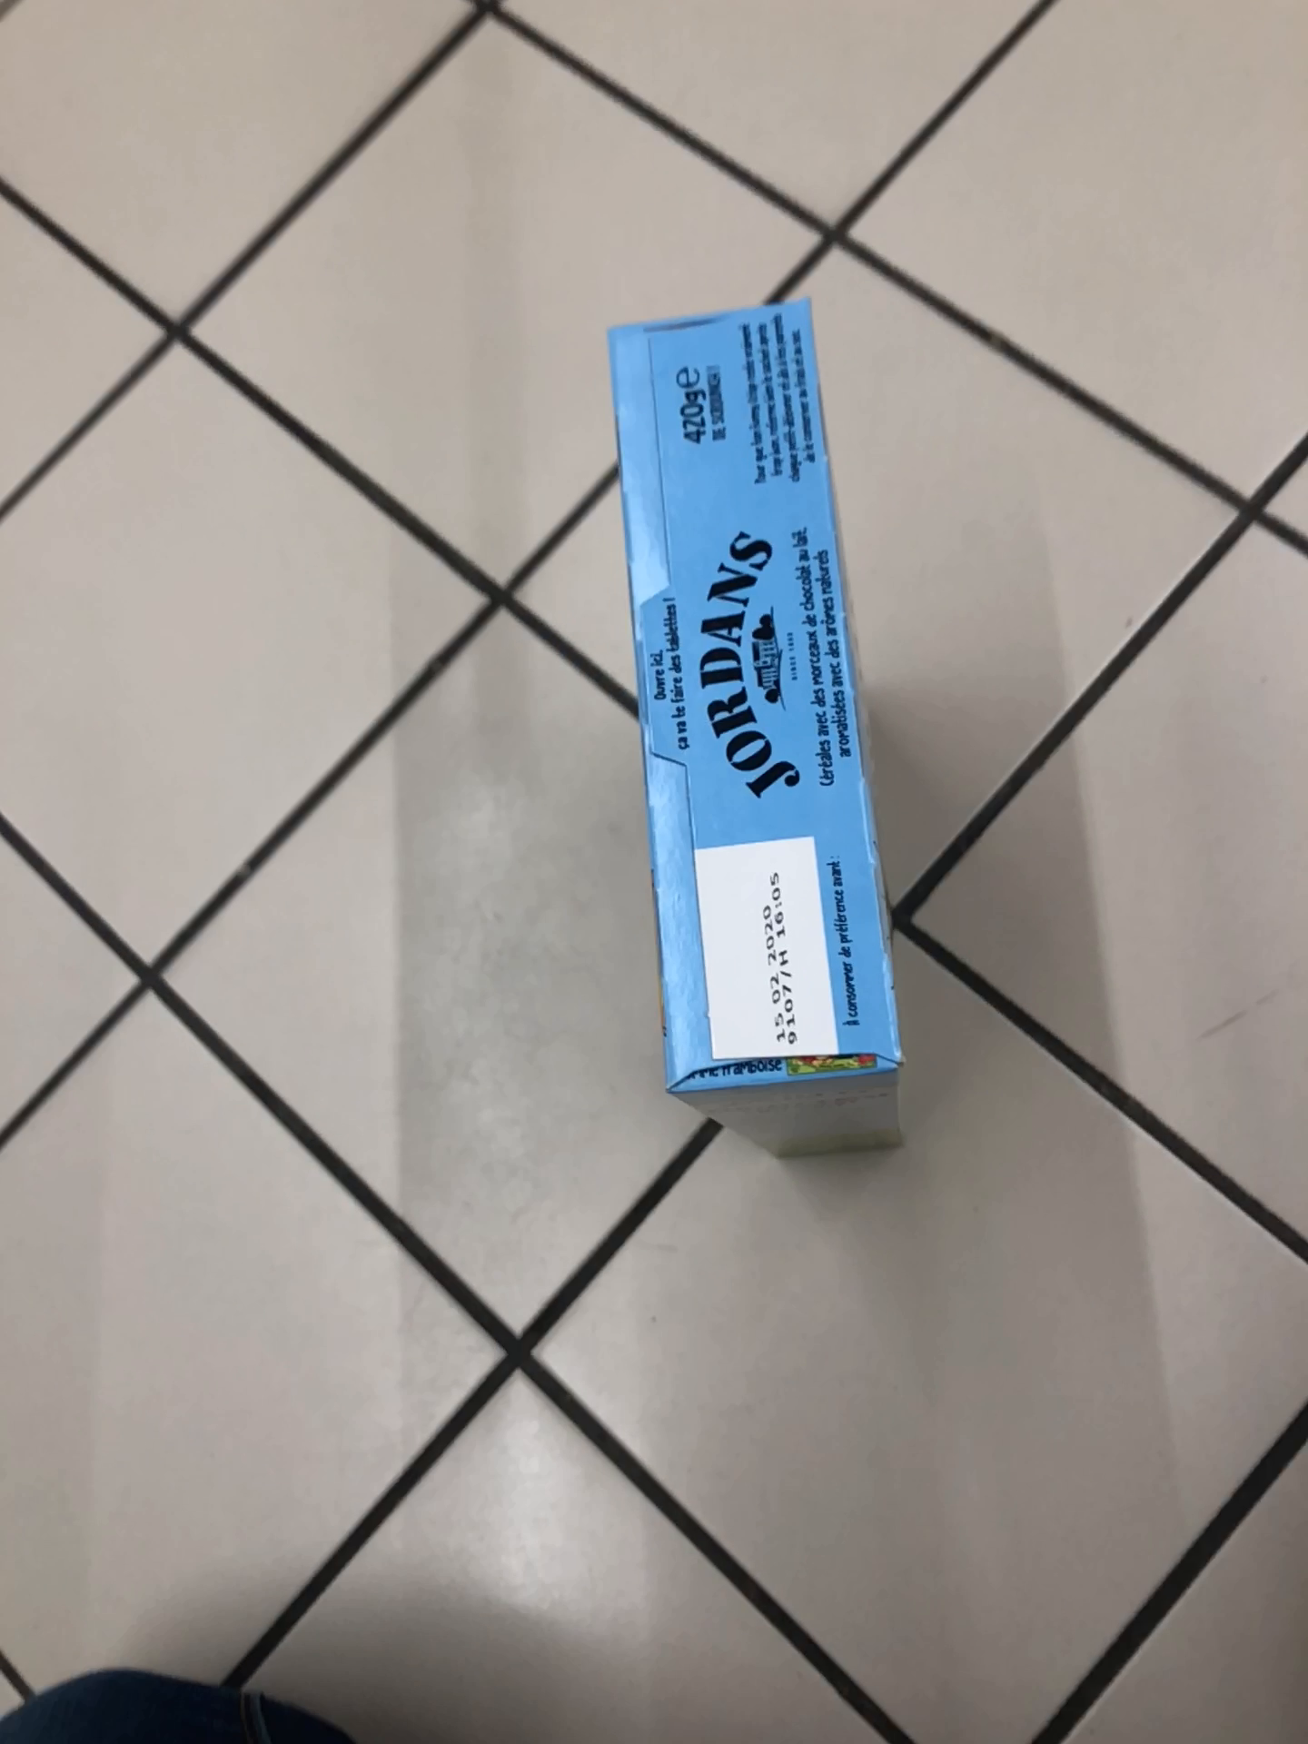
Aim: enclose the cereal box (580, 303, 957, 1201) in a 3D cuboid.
[{"bbox_3d":[0.038,-0.005,0.404,0.060,0.230,0.180,-6,75,8],"label":"cereal box"}]
